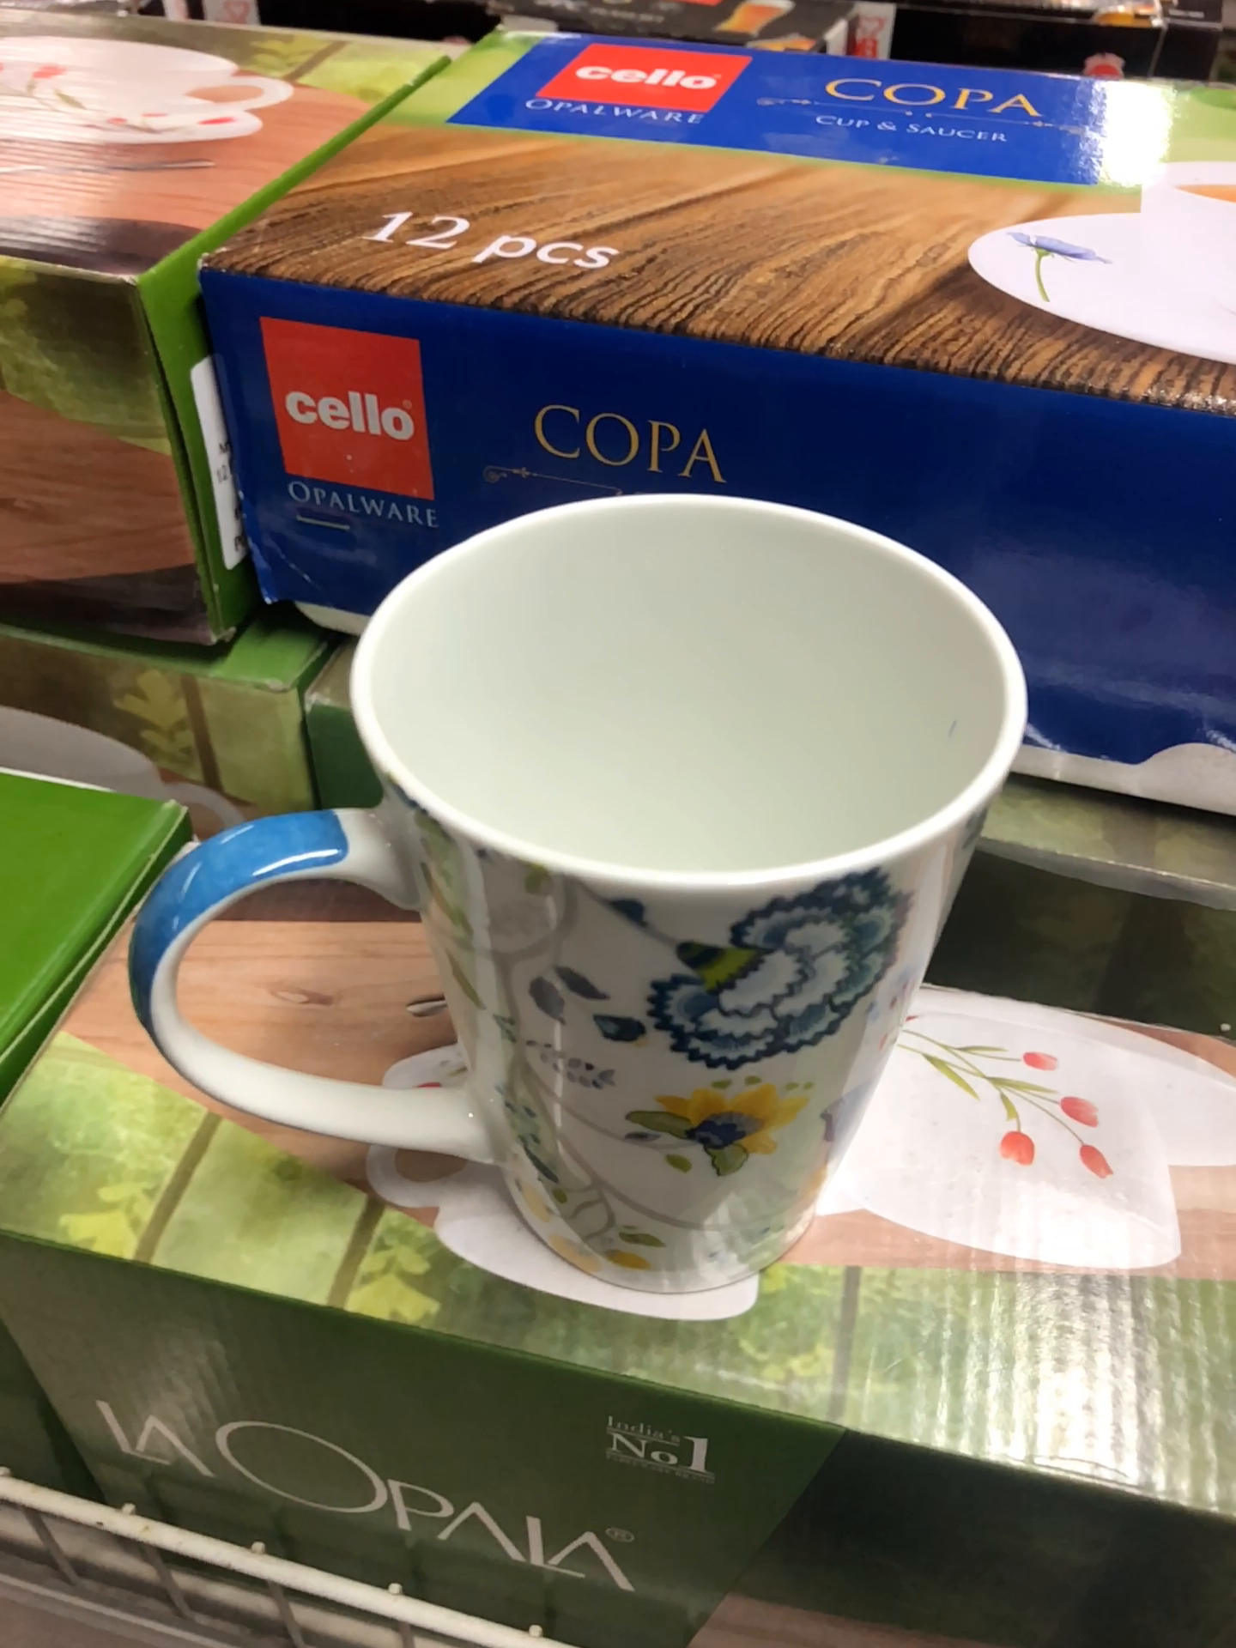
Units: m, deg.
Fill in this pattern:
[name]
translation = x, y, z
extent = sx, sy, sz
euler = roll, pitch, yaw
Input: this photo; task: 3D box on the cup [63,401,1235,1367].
[cup]
translation = 0.002, 0.006, 0.173
extent = 0.110, 0.079, 0.070
euler = -8, 46, -8
